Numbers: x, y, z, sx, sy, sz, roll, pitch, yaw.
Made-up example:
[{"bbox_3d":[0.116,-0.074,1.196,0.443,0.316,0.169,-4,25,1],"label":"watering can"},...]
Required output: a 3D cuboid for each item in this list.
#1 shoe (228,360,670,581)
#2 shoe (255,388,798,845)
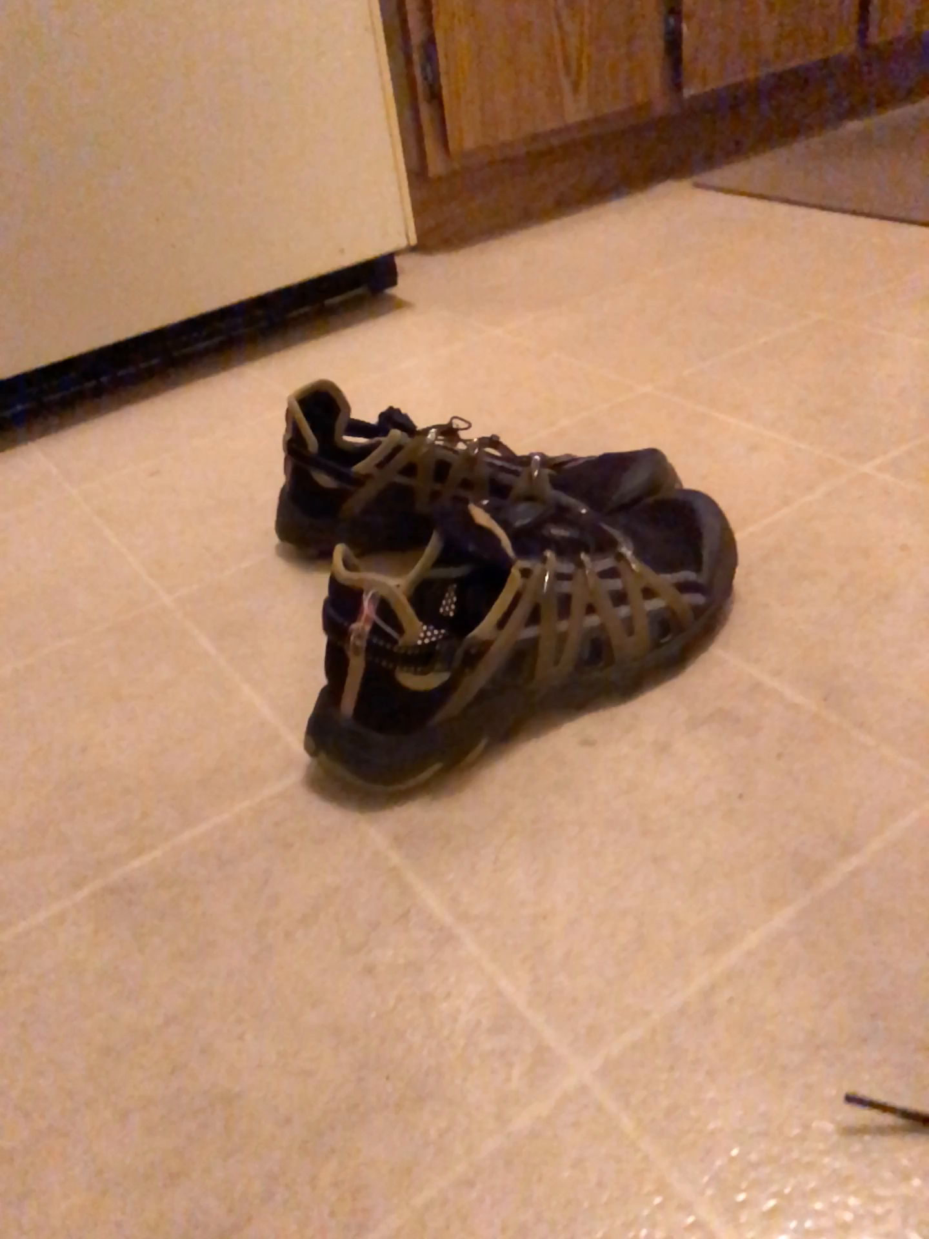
[{"bbox_3d":[-0.004,-0.104,0.709,0.279,0.109,0.100,2,36,16],"label":"shoe"},{"bbox_3d":[0.047,-0.017,0.575,0.287,0.111,0.110,-29,39,-26],"label":"shoe"}]
